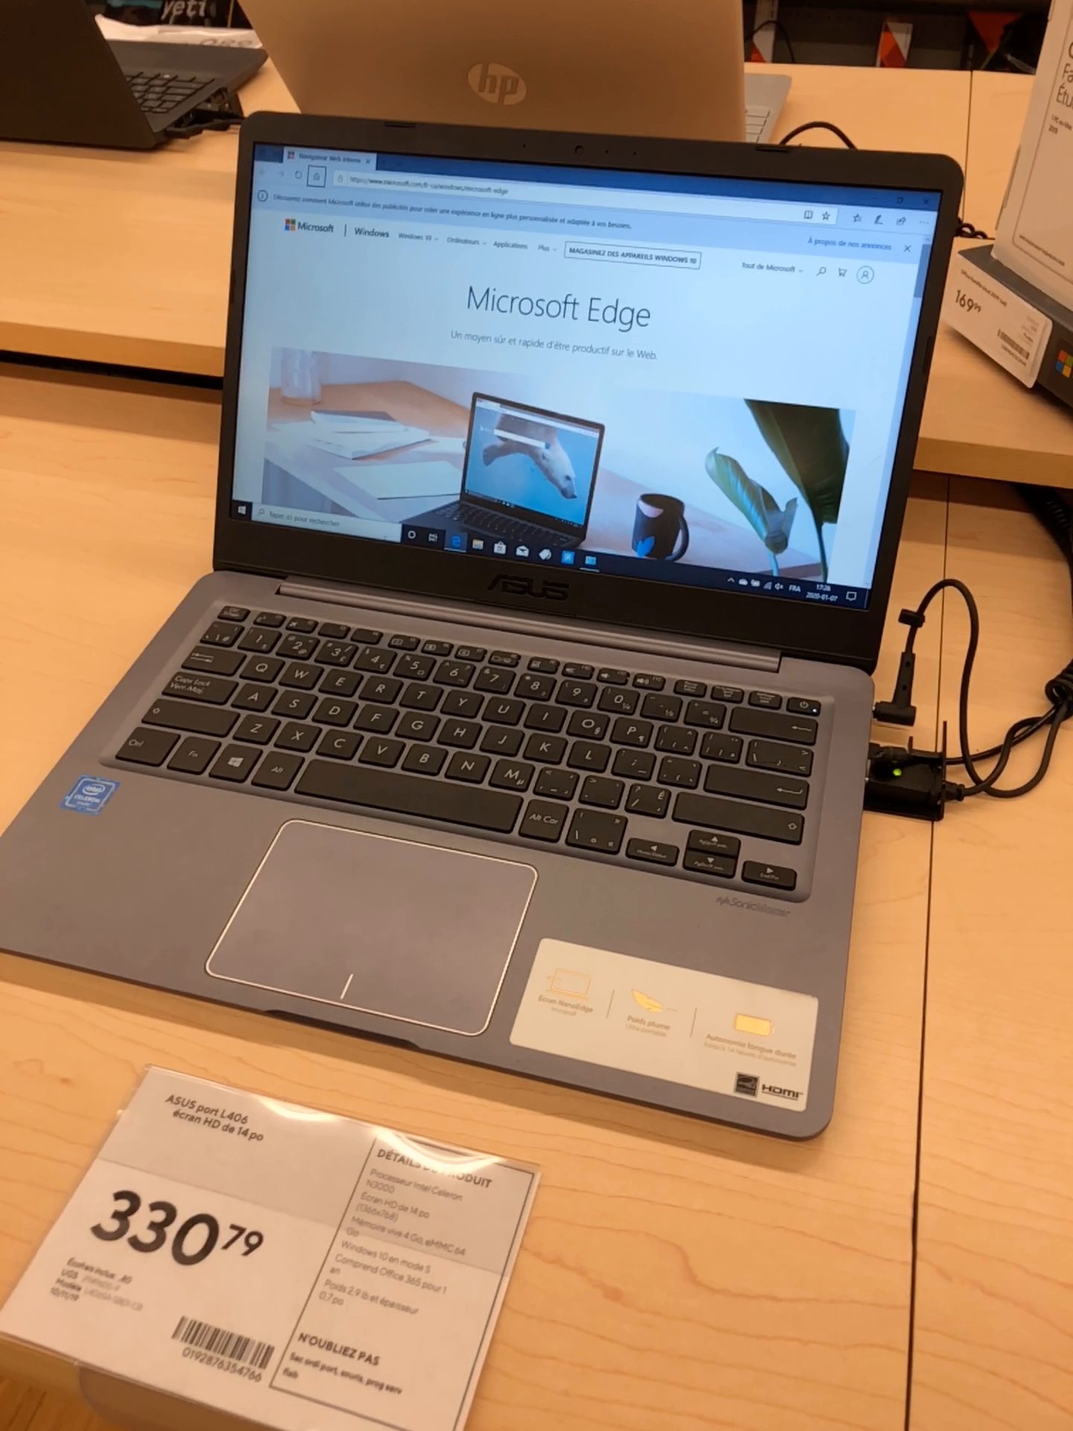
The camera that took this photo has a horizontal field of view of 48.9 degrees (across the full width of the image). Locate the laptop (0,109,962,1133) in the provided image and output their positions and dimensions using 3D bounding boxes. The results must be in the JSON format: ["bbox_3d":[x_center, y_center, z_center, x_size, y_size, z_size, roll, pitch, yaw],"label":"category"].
[{"bbox_3d":[-0.022,-0.071,0.451,0.309,0.172,0.328,10,47,12],"label":"laptop"}]
